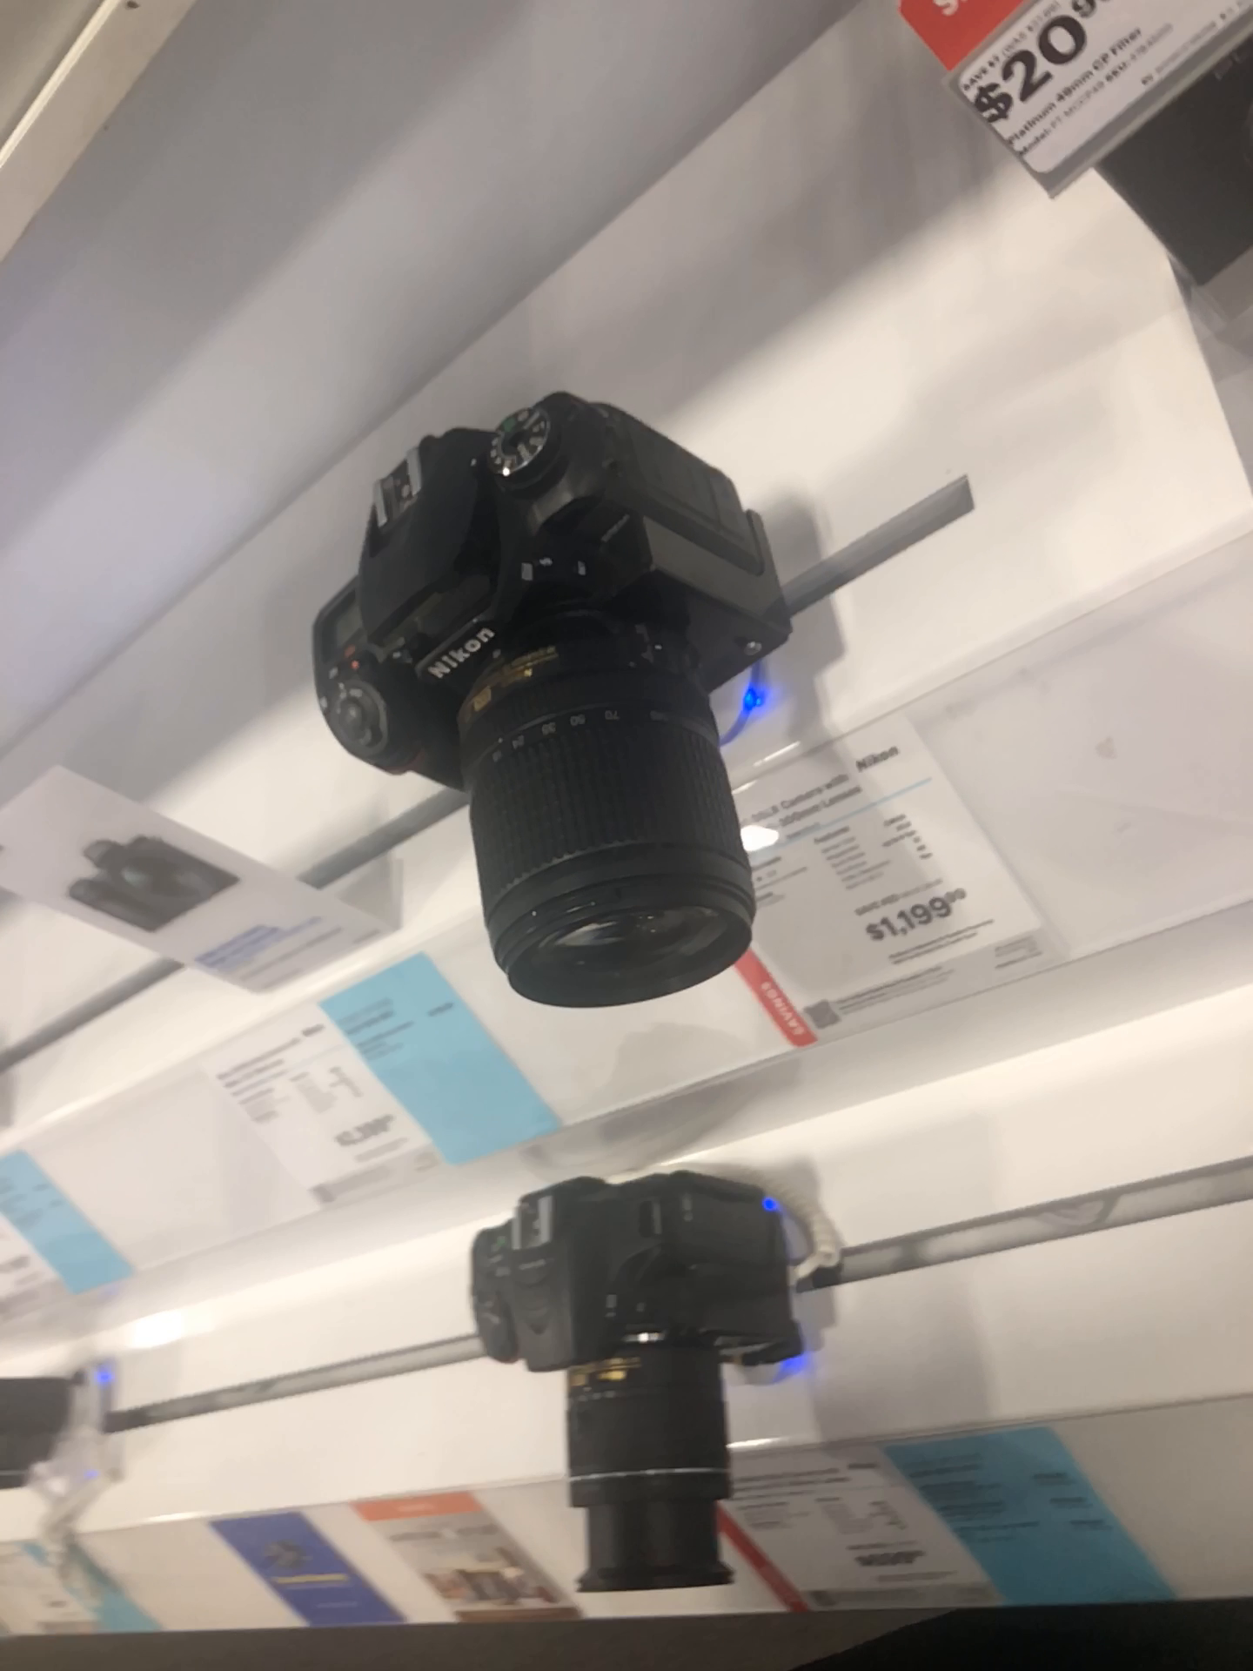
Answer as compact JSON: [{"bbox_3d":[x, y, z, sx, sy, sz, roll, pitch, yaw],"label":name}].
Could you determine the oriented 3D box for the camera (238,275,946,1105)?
[{"bbox_3d":[-0.022,-0.030,0.411,0.161,0.109,0.160,-31,54,35],"label":"camera"}]
